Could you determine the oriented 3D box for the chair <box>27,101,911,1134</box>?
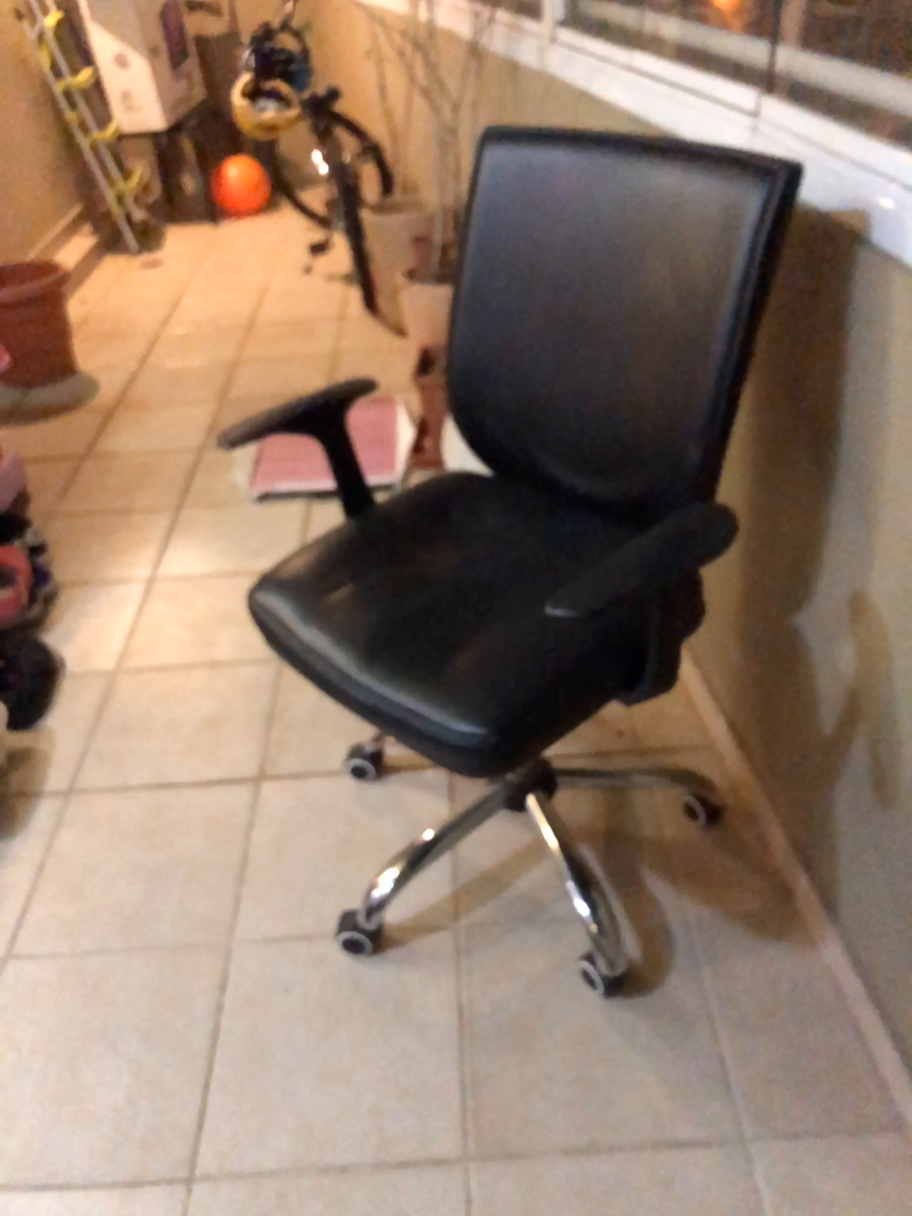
[{"bbox_3d":[0.051,-0.050,1.290,0.662,0.933,0.663,-30,42,-32],"label":"chair"}]
